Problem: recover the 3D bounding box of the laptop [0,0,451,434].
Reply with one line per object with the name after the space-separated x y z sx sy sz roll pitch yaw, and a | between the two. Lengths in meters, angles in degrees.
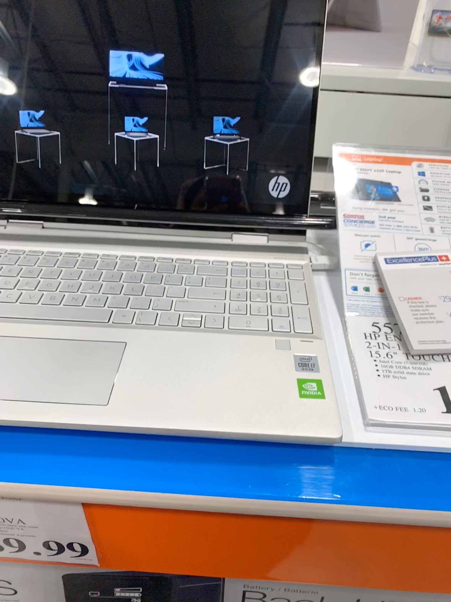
-0.091 -0.111 0.360 0.346 0.209 0.341 3 38 0 | laptop
